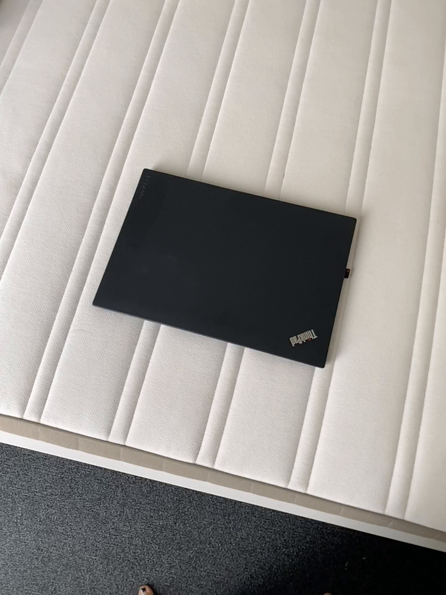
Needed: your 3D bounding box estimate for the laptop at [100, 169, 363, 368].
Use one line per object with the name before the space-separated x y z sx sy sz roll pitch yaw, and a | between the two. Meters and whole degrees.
laptop | 0.014 -0.044 0.573 0.288 0.005 0.193 15 76 5
